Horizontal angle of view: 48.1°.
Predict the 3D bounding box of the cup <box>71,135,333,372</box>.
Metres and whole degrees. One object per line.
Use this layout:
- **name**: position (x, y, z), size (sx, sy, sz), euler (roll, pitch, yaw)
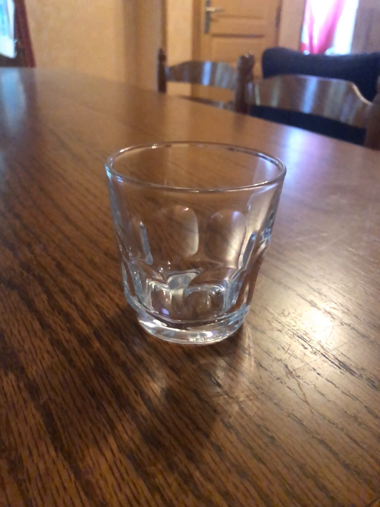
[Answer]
- **cup**: position (0.003, -0.010, 0.205), size (0.083, 0.069, 0.082), euler (1, 26, -1)
